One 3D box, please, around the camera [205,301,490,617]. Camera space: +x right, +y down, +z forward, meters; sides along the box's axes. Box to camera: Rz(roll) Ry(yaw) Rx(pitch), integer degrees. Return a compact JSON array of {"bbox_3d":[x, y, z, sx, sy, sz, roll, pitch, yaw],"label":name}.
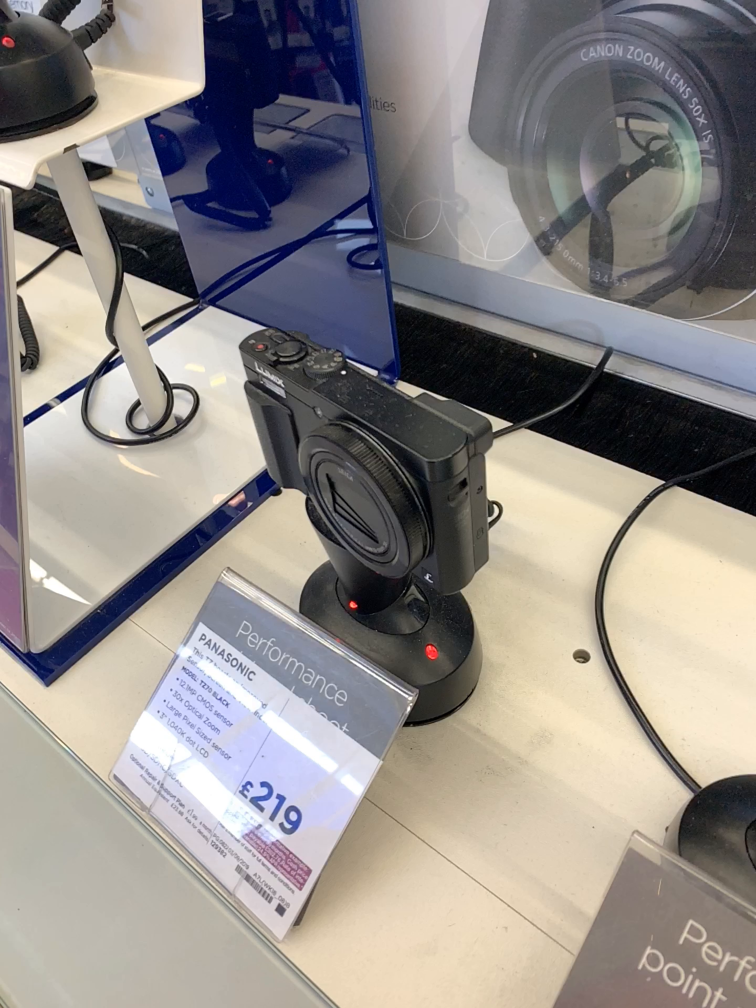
[{"bbox_3d":[-0.011,-0.019,0.283,0.030,0.069,0.111,-36,50,-25],"label":"camera"}]
